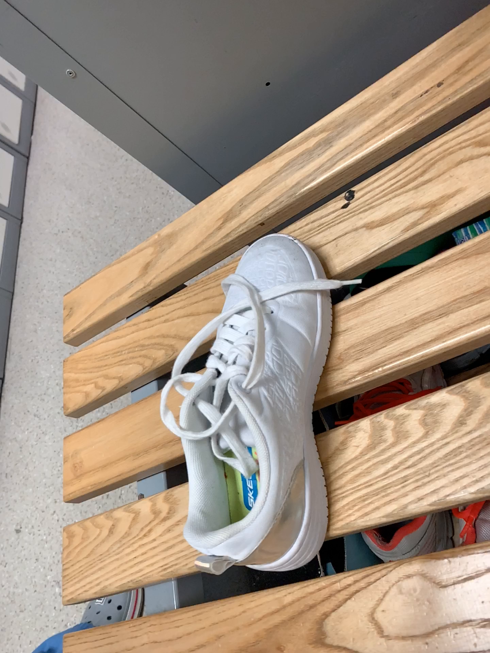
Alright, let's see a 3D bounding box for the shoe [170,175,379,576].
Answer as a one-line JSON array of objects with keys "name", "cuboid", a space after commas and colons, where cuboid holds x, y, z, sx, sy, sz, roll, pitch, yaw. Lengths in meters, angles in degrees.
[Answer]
[{"name": "shoe", "cuboid": [0.015, 0.033, 0.352, 0.100, 0.076, 0.251, -18, 61, 31]}]
